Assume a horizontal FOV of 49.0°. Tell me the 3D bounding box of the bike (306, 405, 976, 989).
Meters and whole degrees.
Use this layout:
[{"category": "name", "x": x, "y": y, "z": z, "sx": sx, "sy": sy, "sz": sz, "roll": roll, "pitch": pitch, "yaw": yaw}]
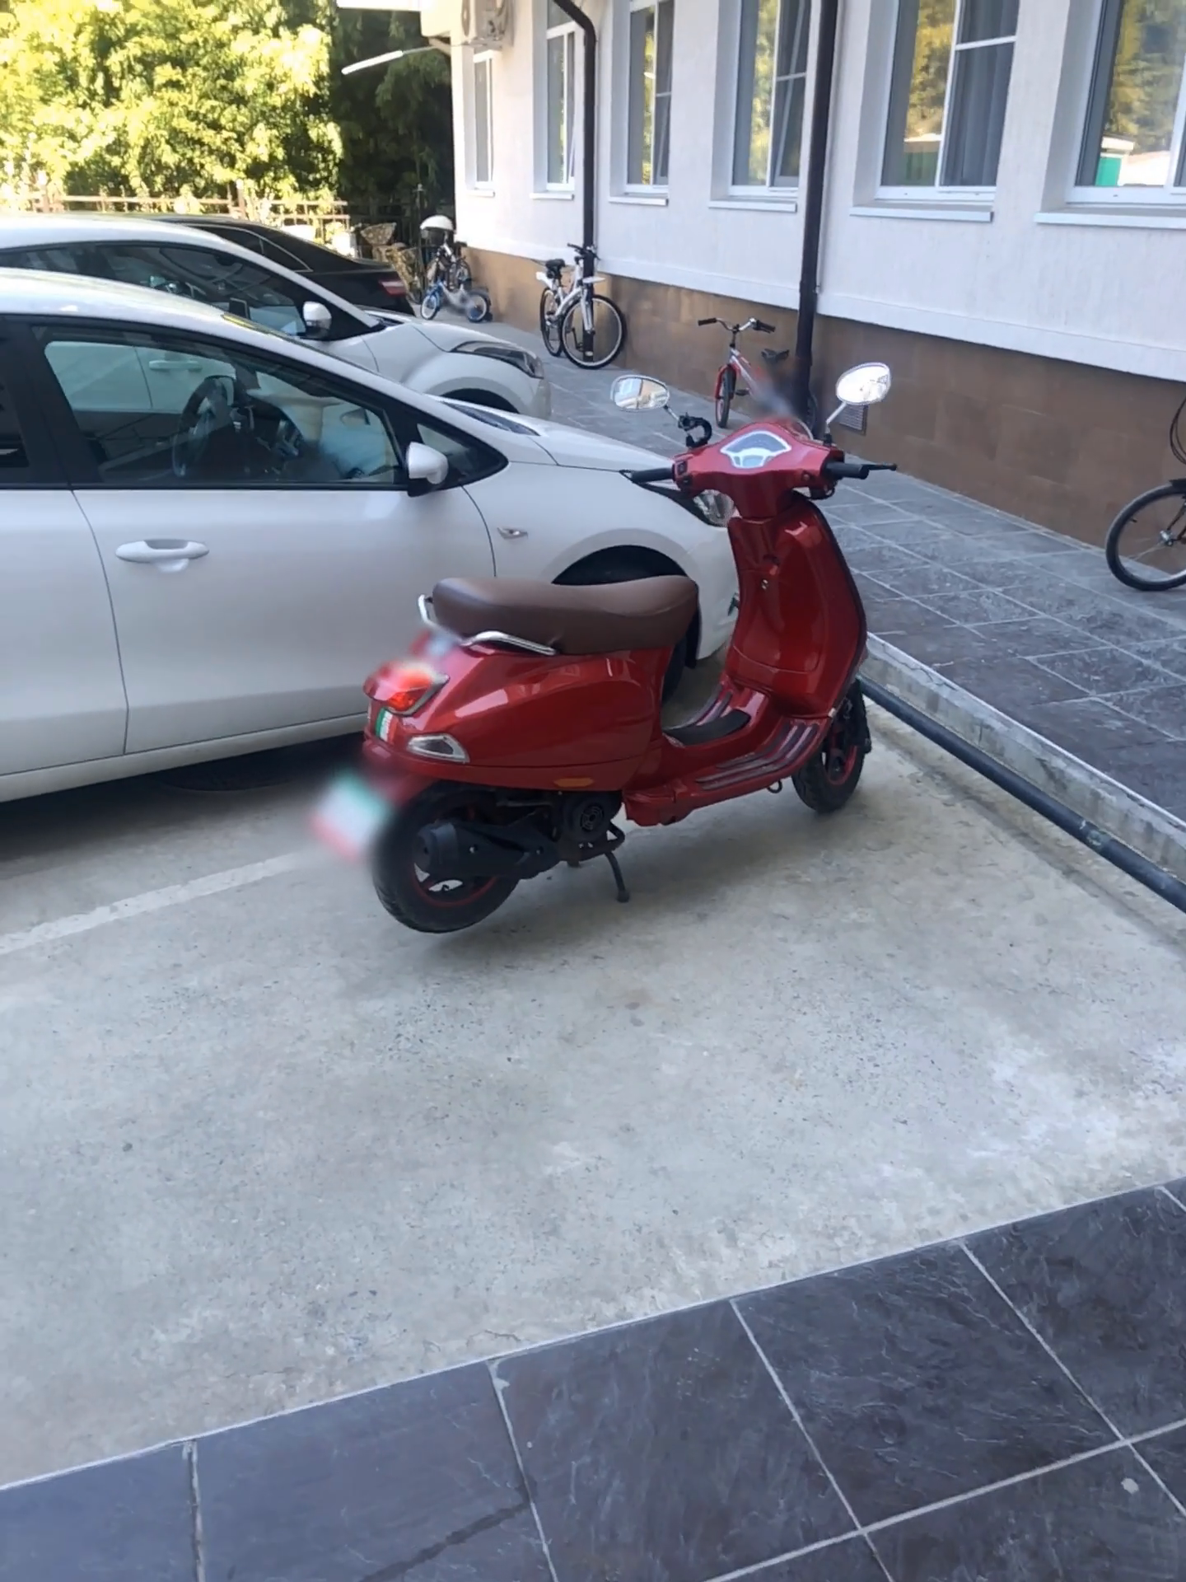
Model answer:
[{"category": "bike", "x": 0.168, "y": -0.332, "z": 3.169, "sx": 1.596, "sy": 0.950, "sz": 0.536, "roll": -19, "pitch": 30, "yaw": -35}]
